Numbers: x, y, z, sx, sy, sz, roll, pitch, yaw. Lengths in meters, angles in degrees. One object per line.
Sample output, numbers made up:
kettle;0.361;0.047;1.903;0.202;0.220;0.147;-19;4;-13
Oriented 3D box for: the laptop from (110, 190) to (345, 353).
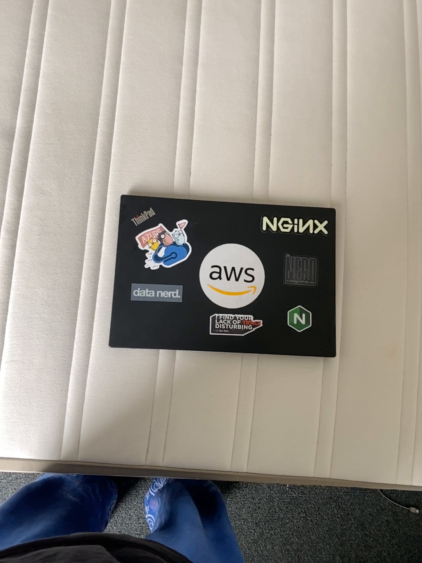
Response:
laptop;0.031;-0.017;0.621;0.322;0.014;0.224;3;78;-2
